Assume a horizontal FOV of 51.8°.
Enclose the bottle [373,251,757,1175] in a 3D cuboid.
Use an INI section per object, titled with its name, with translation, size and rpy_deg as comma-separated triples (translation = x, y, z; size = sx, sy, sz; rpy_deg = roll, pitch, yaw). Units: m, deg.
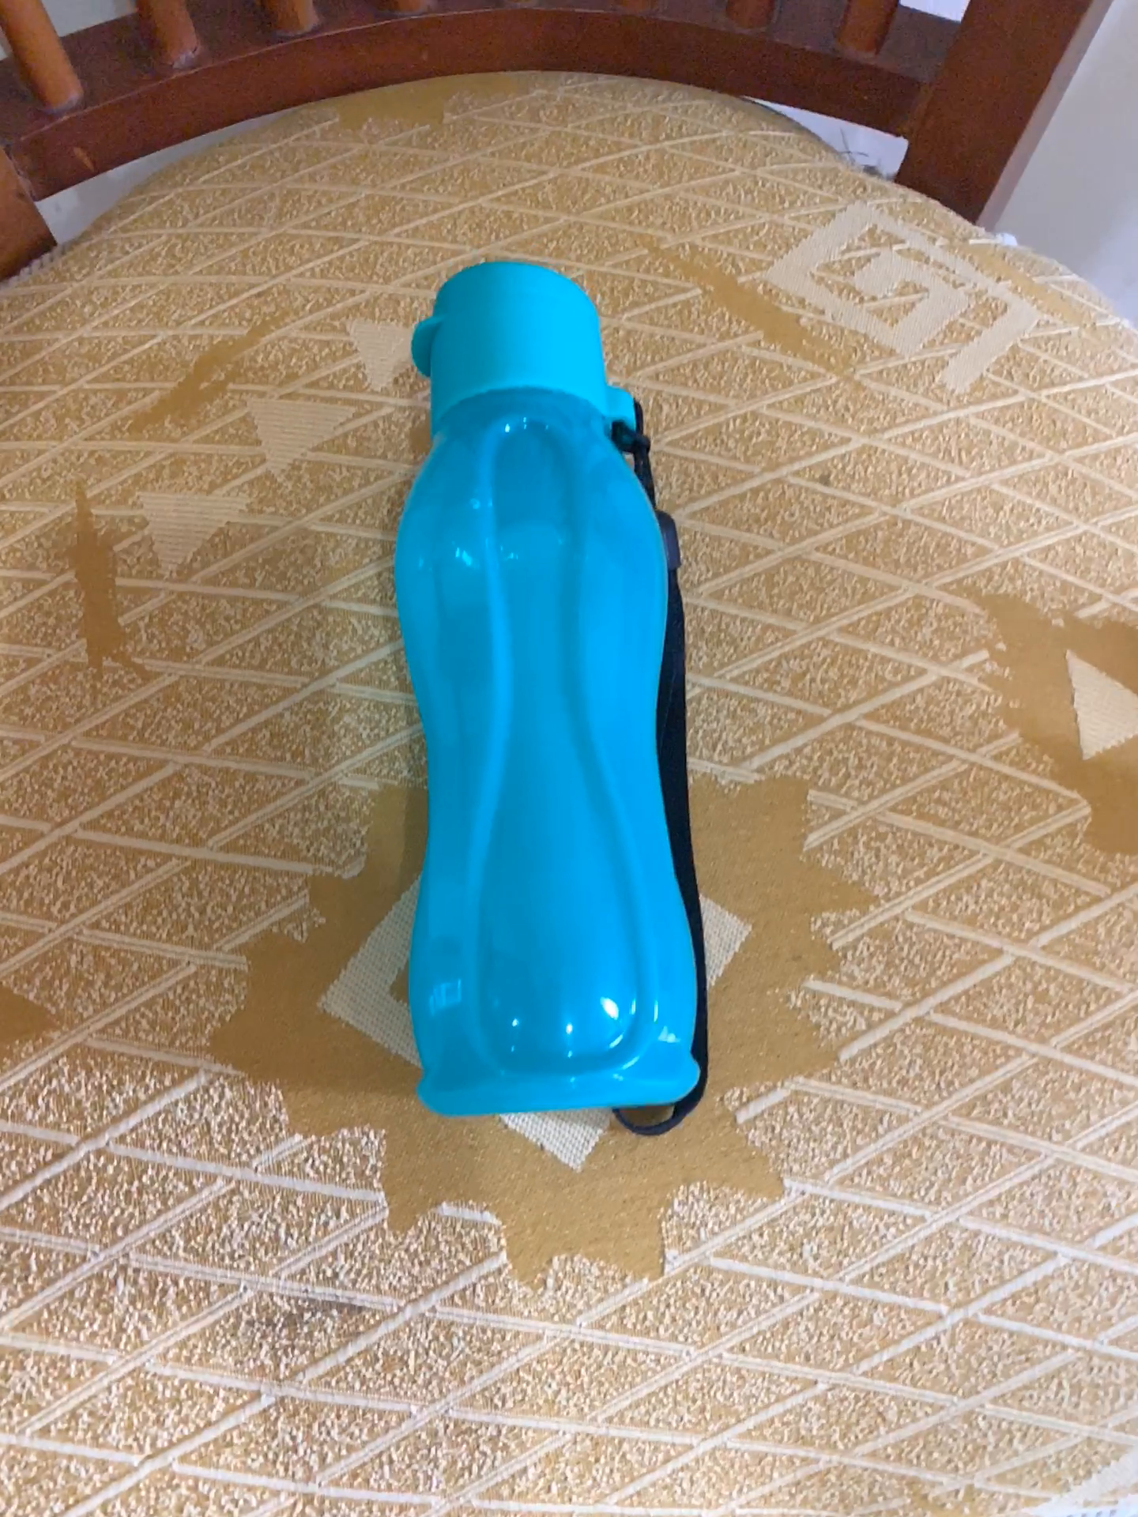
[bottle]
translation = -0.004, -0.014, 0.266
size = 0.070, 0.050, 0.200
rpy_deg = -1, 73, -3
